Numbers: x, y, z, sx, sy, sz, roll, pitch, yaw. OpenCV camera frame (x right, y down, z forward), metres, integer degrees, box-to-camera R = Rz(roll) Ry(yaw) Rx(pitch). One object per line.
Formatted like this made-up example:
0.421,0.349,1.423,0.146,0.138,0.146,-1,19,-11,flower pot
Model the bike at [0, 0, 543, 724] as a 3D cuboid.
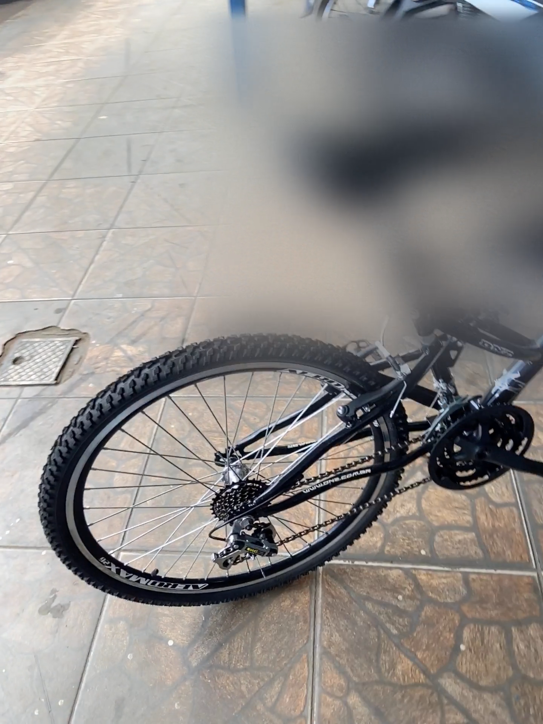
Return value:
0.312,-0.163,0.918,1.586,1.154,0.606,-24,48,-12,bike
